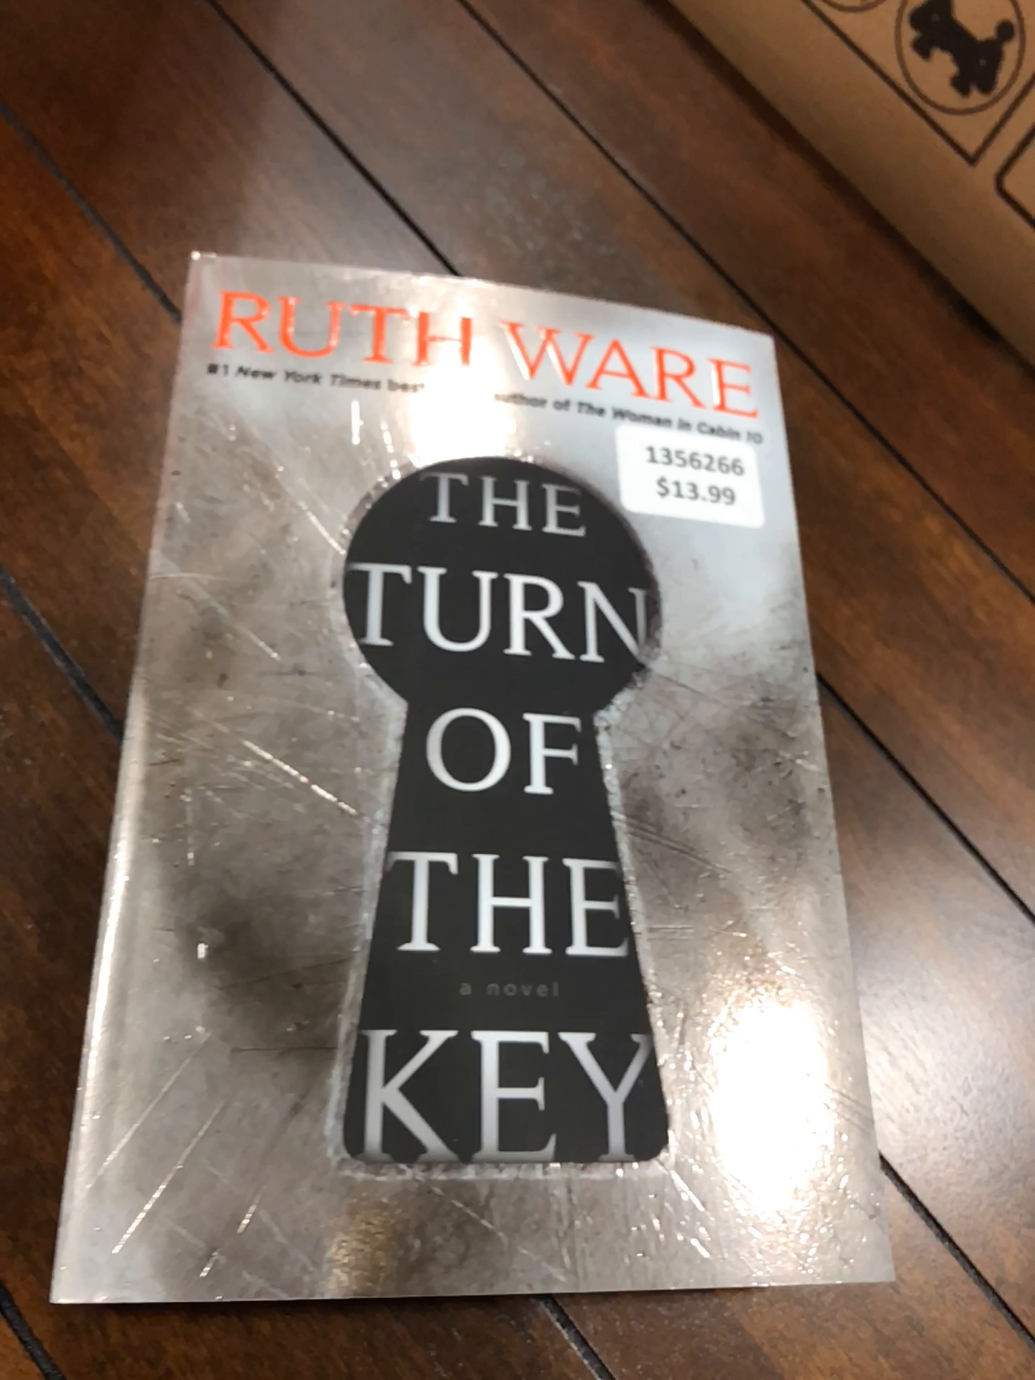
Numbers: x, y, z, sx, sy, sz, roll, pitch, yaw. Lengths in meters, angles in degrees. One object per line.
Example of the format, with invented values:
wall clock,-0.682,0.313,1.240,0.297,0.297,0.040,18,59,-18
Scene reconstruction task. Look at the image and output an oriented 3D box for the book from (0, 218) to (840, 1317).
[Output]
book,-0.020,0.006,0.263,0.158,0.028,0.233,5,66,-13
